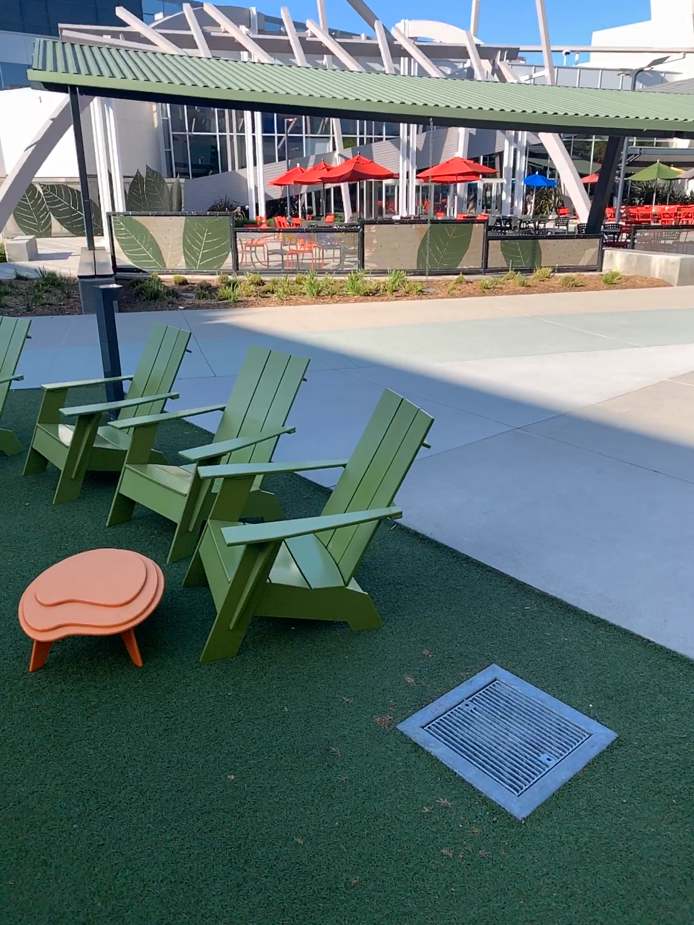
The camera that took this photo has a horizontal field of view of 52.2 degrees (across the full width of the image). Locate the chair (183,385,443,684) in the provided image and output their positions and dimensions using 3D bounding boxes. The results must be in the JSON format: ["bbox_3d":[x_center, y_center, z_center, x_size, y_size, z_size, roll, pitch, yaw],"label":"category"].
[{"bbox_3d":[-0.167,0.227,2.786,0.850,0.856,0.714,-5,21,-13],"label":"chair"}]
